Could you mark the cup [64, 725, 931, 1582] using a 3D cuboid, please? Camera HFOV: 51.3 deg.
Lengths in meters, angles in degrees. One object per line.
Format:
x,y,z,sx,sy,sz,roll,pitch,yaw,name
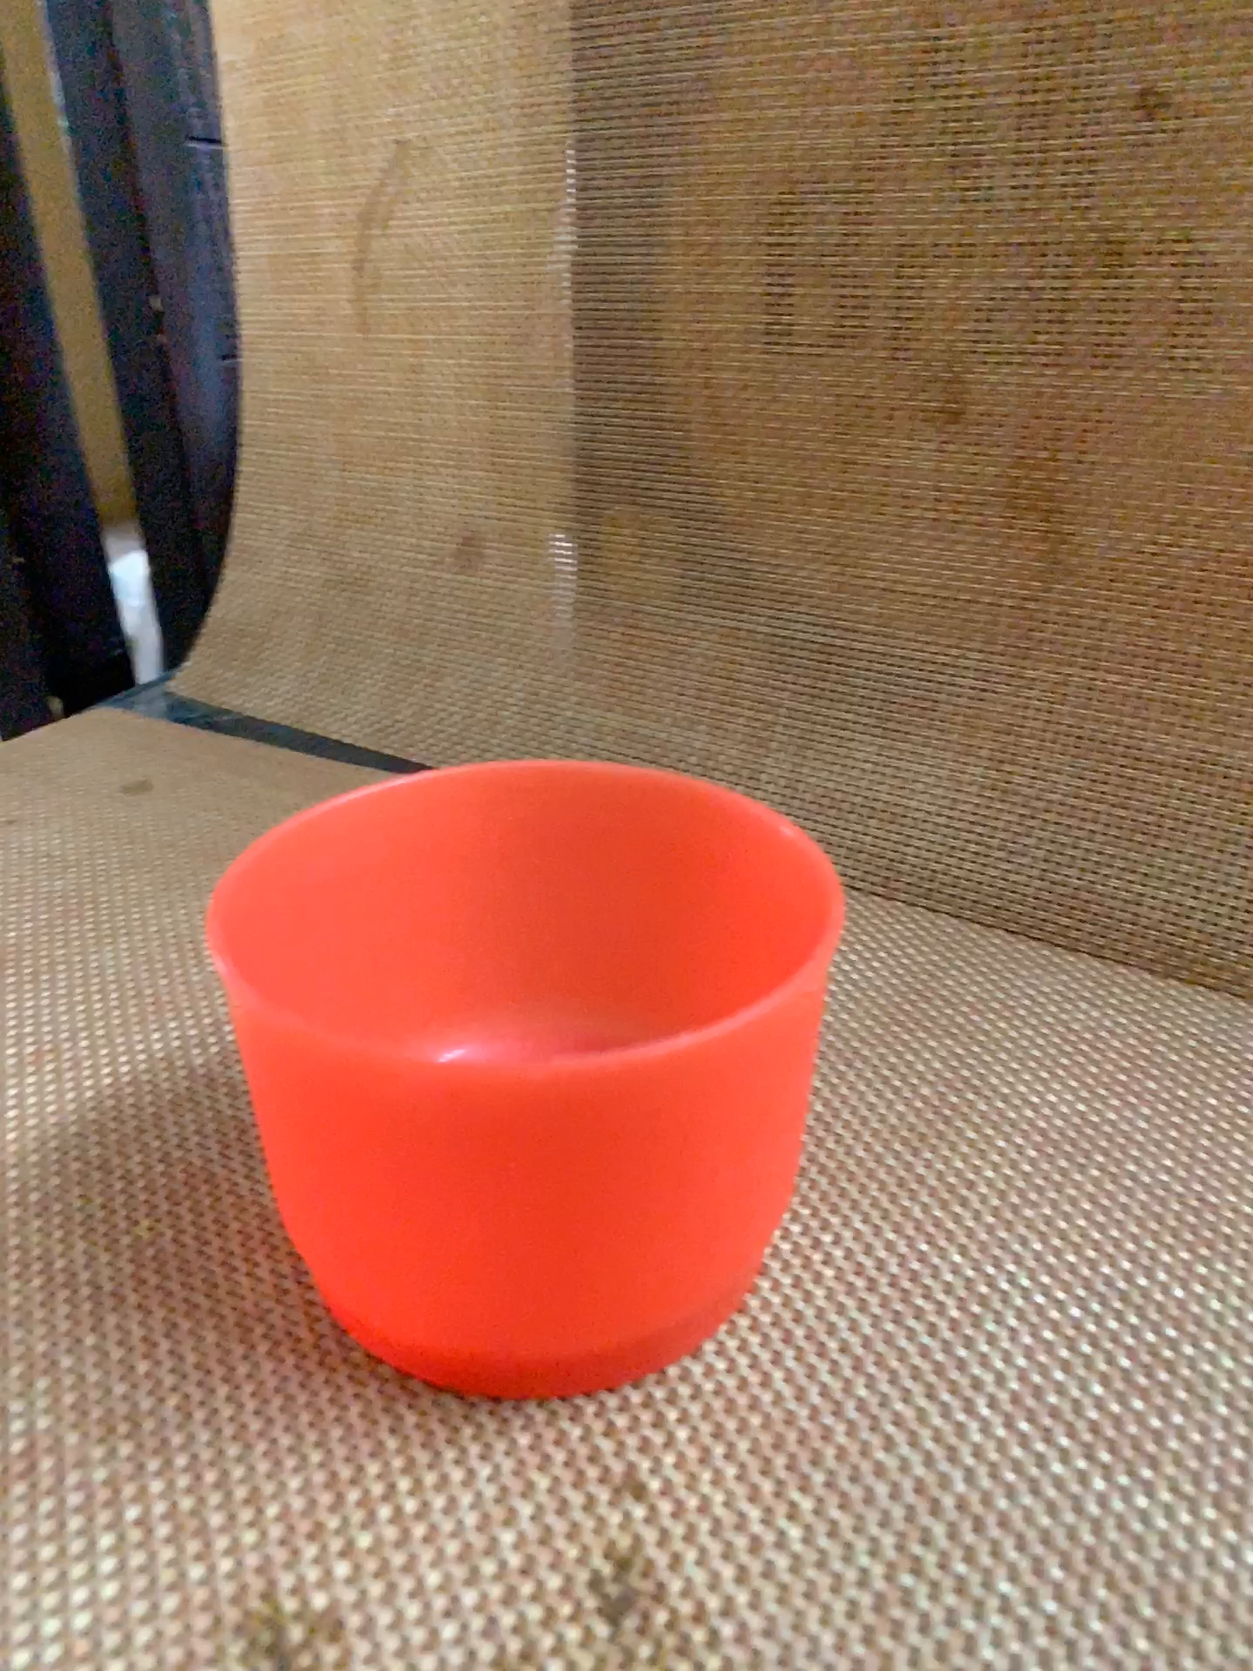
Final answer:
-0.014,0.028,0.160,0.070,0.050,0.070,0,26,0,cup
